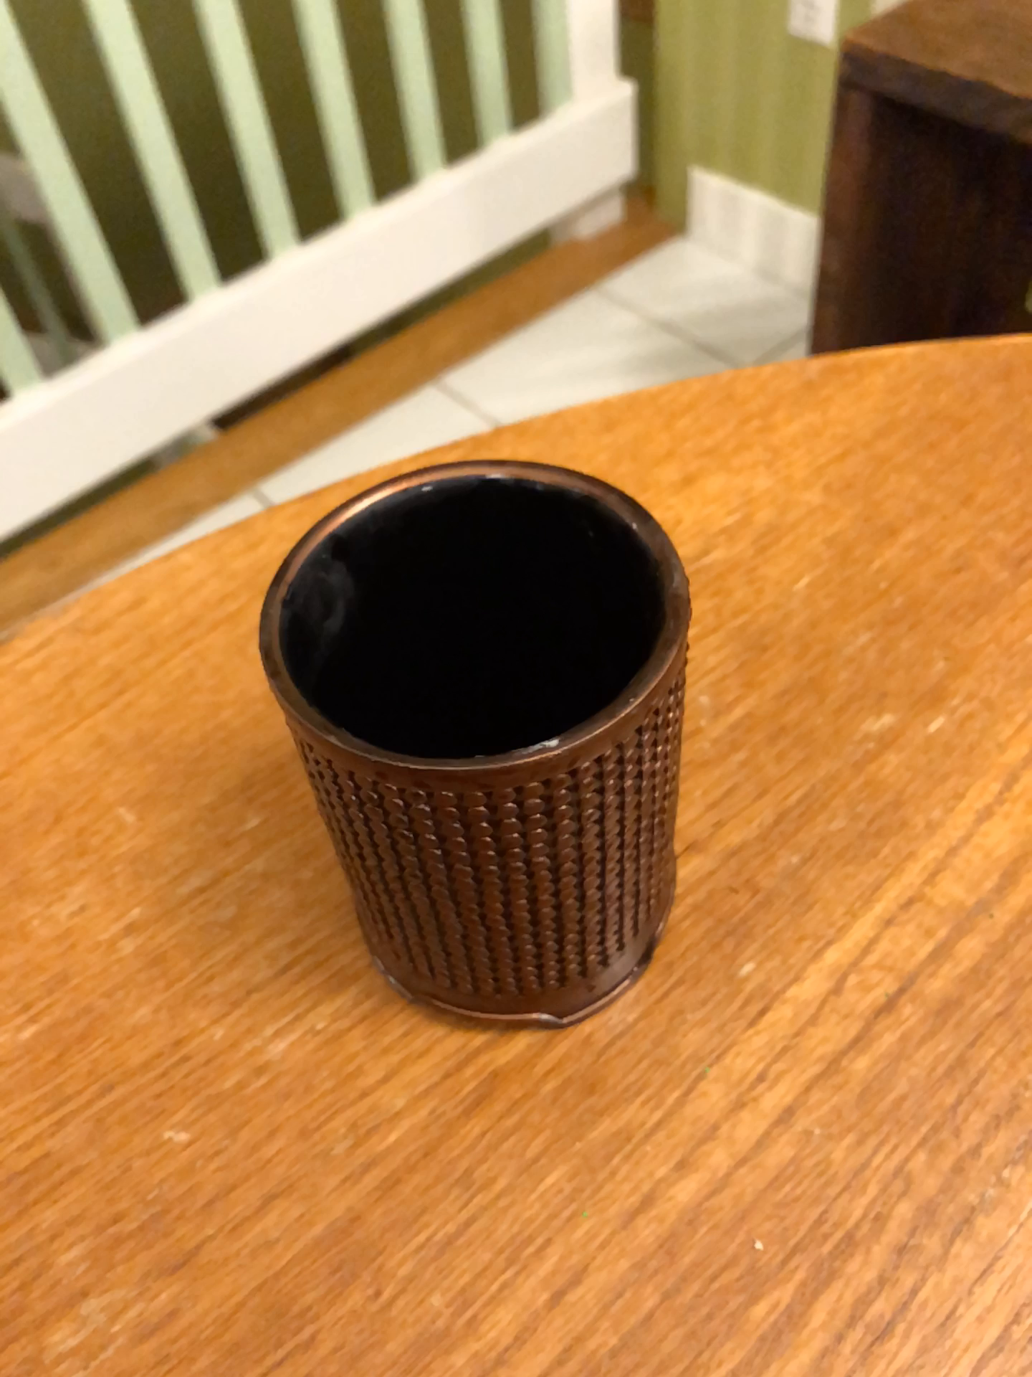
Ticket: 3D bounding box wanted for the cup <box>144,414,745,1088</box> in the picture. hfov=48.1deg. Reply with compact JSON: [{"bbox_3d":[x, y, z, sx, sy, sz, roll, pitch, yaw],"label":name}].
[{"bbox_3d":[-0.007,0.014,0.235,0.077,0.097,0.073,-3,50,4],"label":"cup"}]
